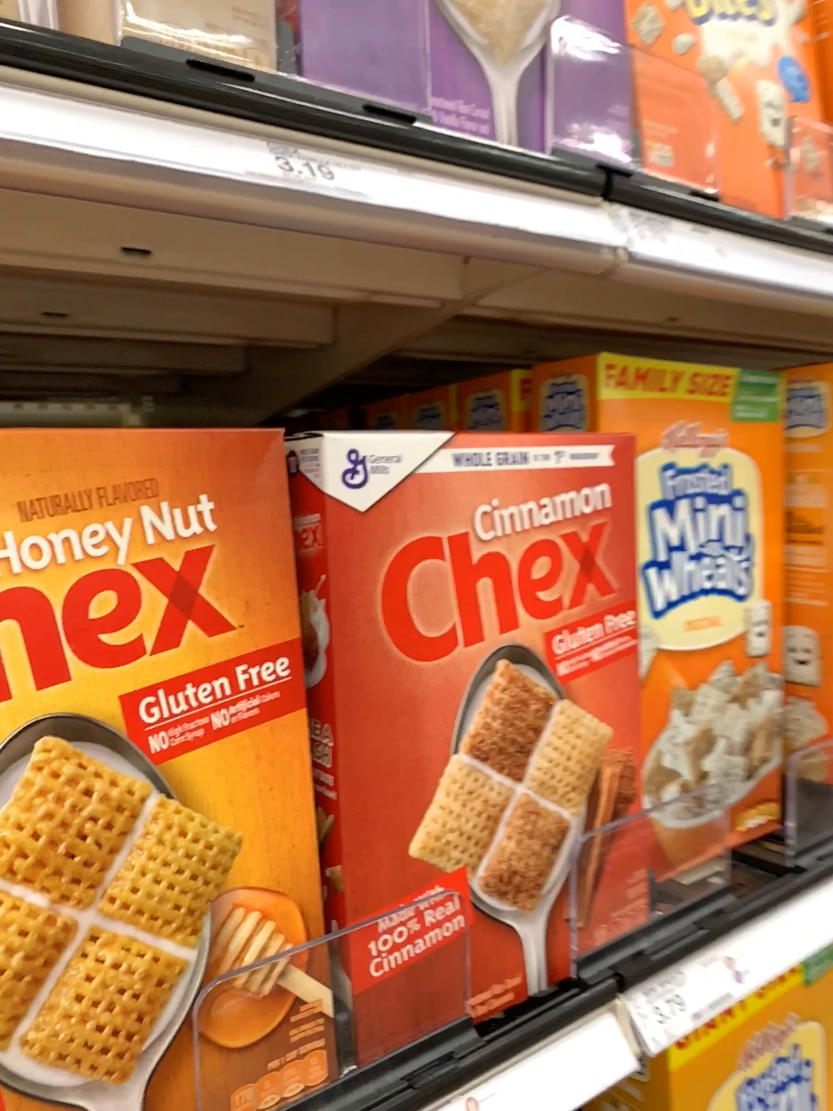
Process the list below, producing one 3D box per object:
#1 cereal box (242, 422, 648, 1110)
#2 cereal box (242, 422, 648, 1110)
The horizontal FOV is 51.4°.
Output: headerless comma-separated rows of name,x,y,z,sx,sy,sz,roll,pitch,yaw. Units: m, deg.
cereal box,0.025,0.086,0.444,0.200,0.300,0.060,-5,4,-36
cereal box,0.025,0.086,0.444,0.200,0.300,0.060,-5,4,-36
